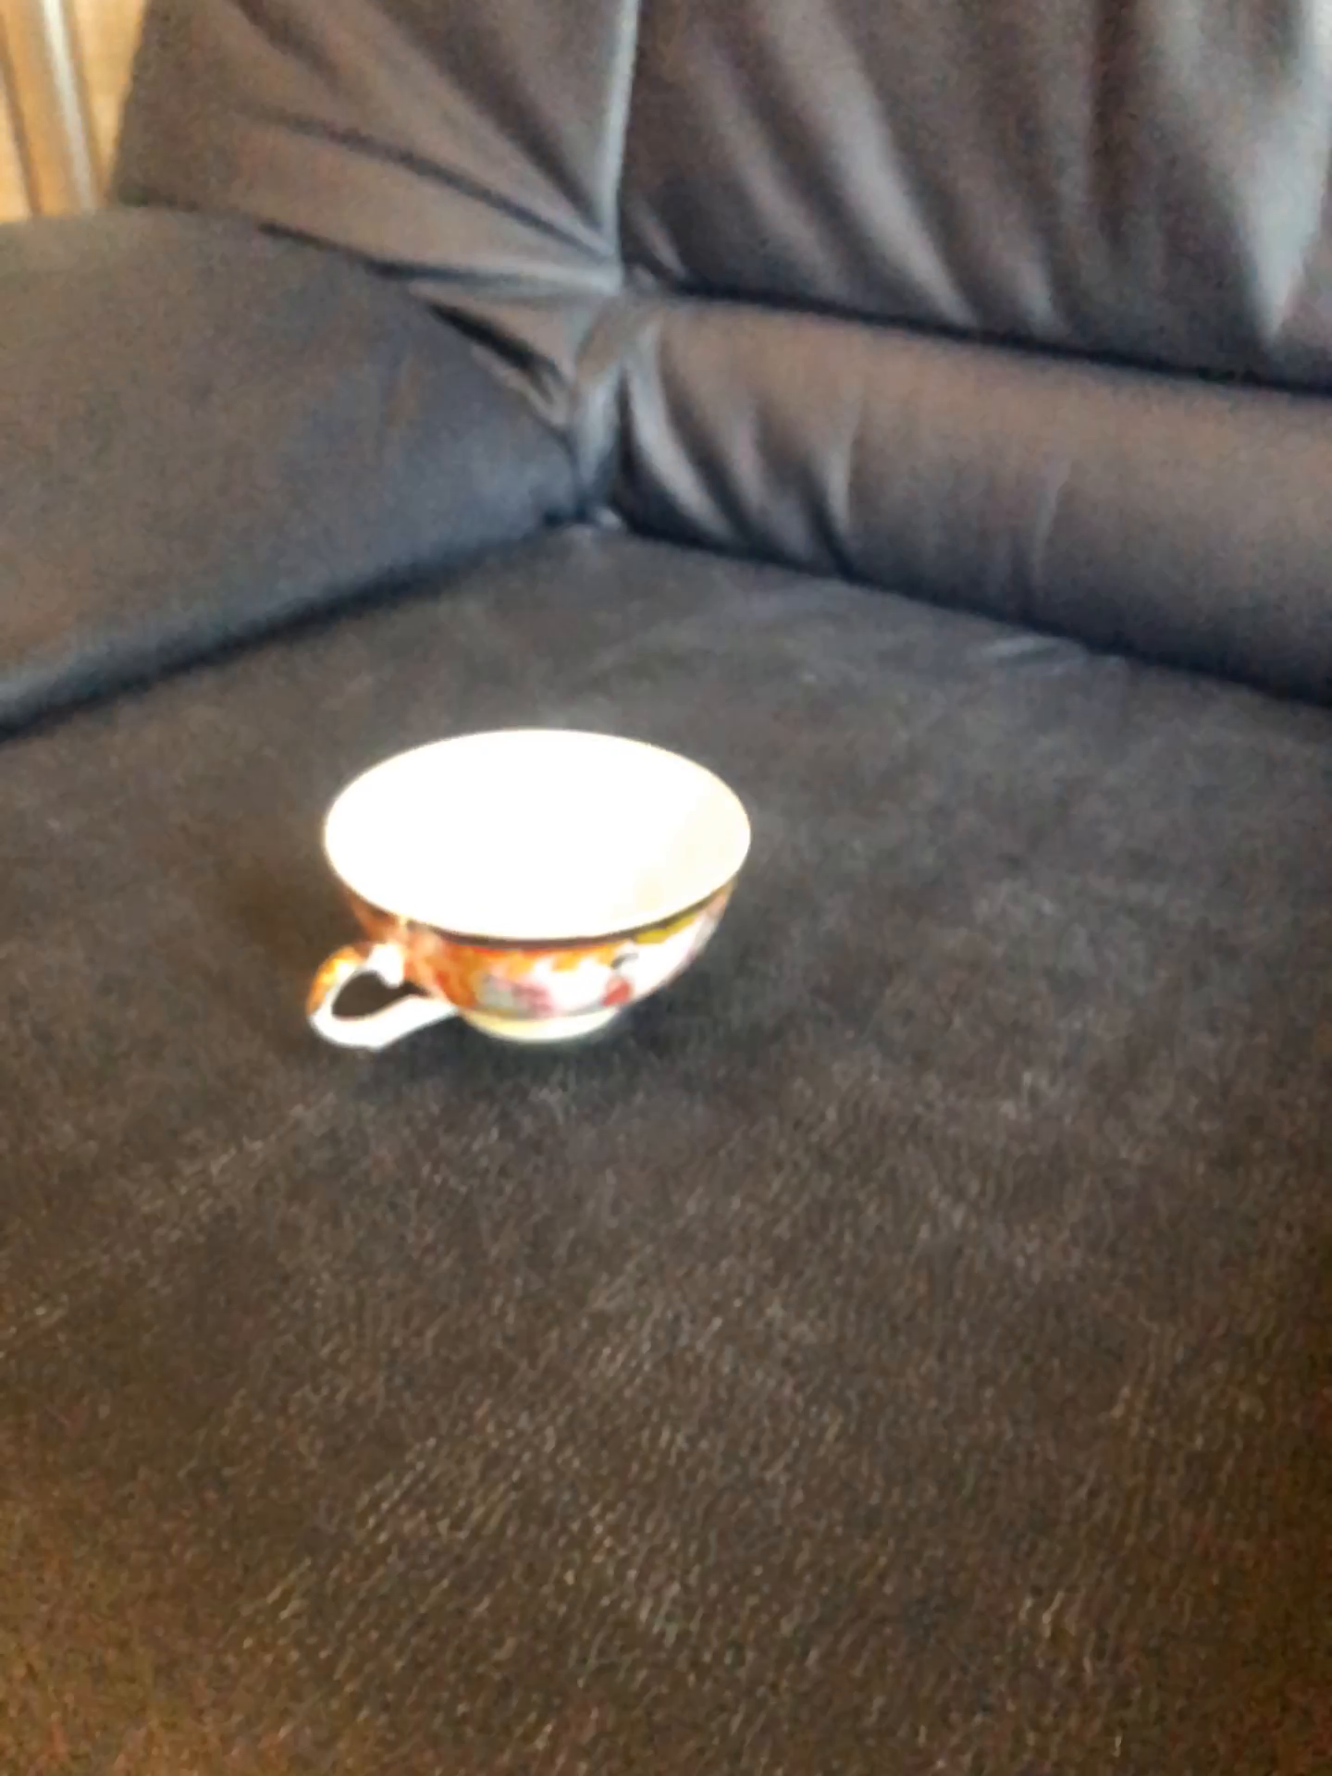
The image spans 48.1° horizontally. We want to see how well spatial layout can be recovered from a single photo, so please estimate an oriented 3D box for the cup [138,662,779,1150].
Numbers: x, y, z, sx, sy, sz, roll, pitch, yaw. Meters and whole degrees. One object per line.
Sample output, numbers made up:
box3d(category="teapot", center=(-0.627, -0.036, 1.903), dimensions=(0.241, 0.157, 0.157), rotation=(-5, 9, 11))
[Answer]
box3d(category="cup", center=(-0.046, -0.004, 0.355), dimensions=(0.100, 0.041, 0.107), rotation=(0, 33, 0))
